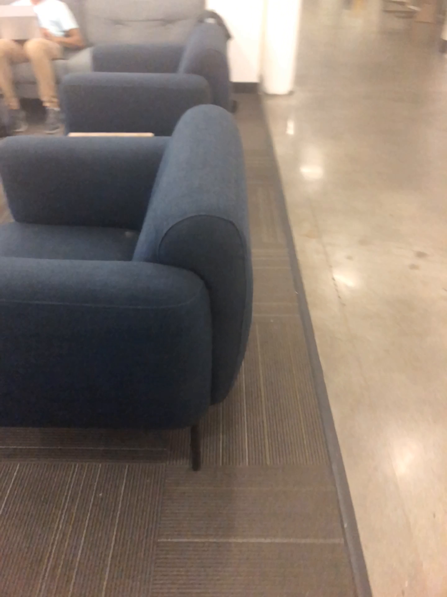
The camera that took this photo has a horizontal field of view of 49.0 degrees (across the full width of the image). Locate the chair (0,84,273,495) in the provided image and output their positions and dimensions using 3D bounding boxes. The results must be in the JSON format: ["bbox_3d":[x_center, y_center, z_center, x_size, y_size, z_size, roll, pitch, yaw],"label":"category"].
[{"bbox_3d":[-0.344,-0.080,1.425,0.840,0.783,0.928,1,37,-1],"label":"chair"}]
